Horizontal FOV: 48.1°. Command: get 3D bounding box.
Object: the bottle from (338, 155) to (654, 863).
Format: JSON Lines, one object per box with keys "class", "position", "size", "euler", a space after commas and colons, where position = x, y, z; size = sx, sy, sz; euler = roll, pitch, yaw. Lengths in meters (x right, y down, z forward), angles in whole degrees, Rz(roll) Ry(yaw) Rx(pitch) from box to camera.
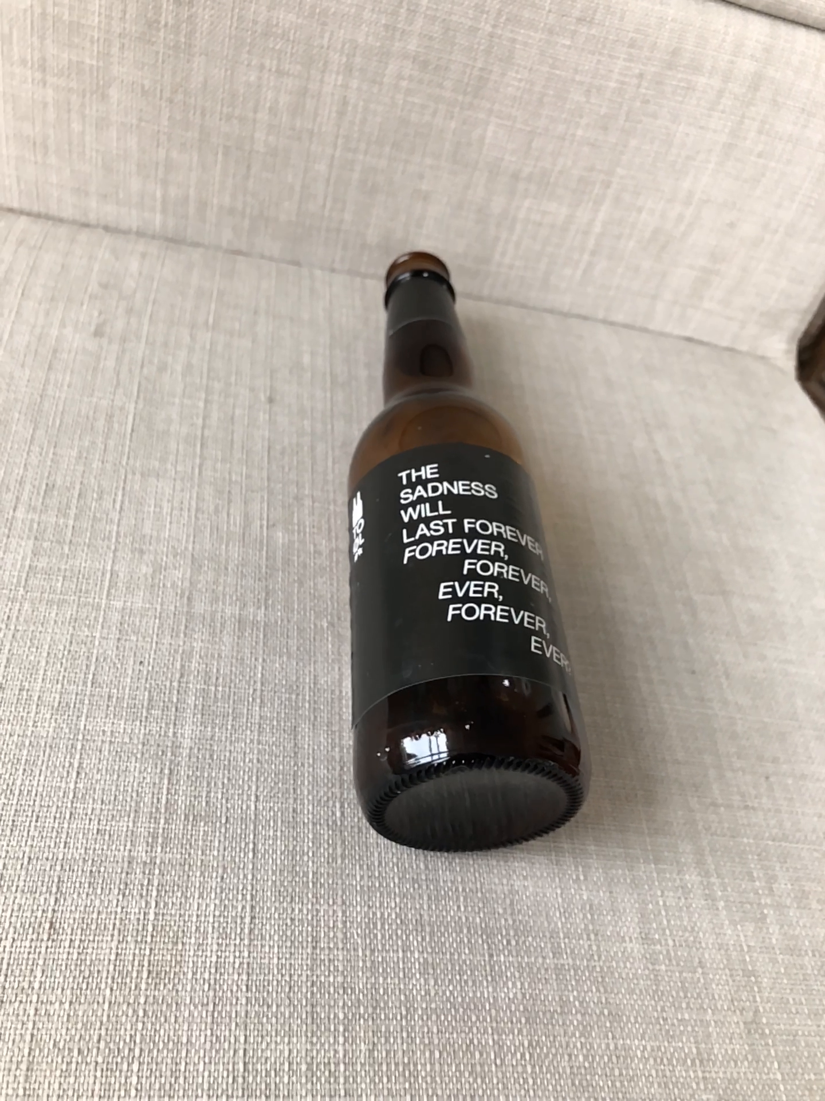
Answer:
{"class": "bottle", "position": [0.012, -0.030, 0.299], "size": [0.060, 0.059, 0.240], "euler": [8, 51, -15]}
